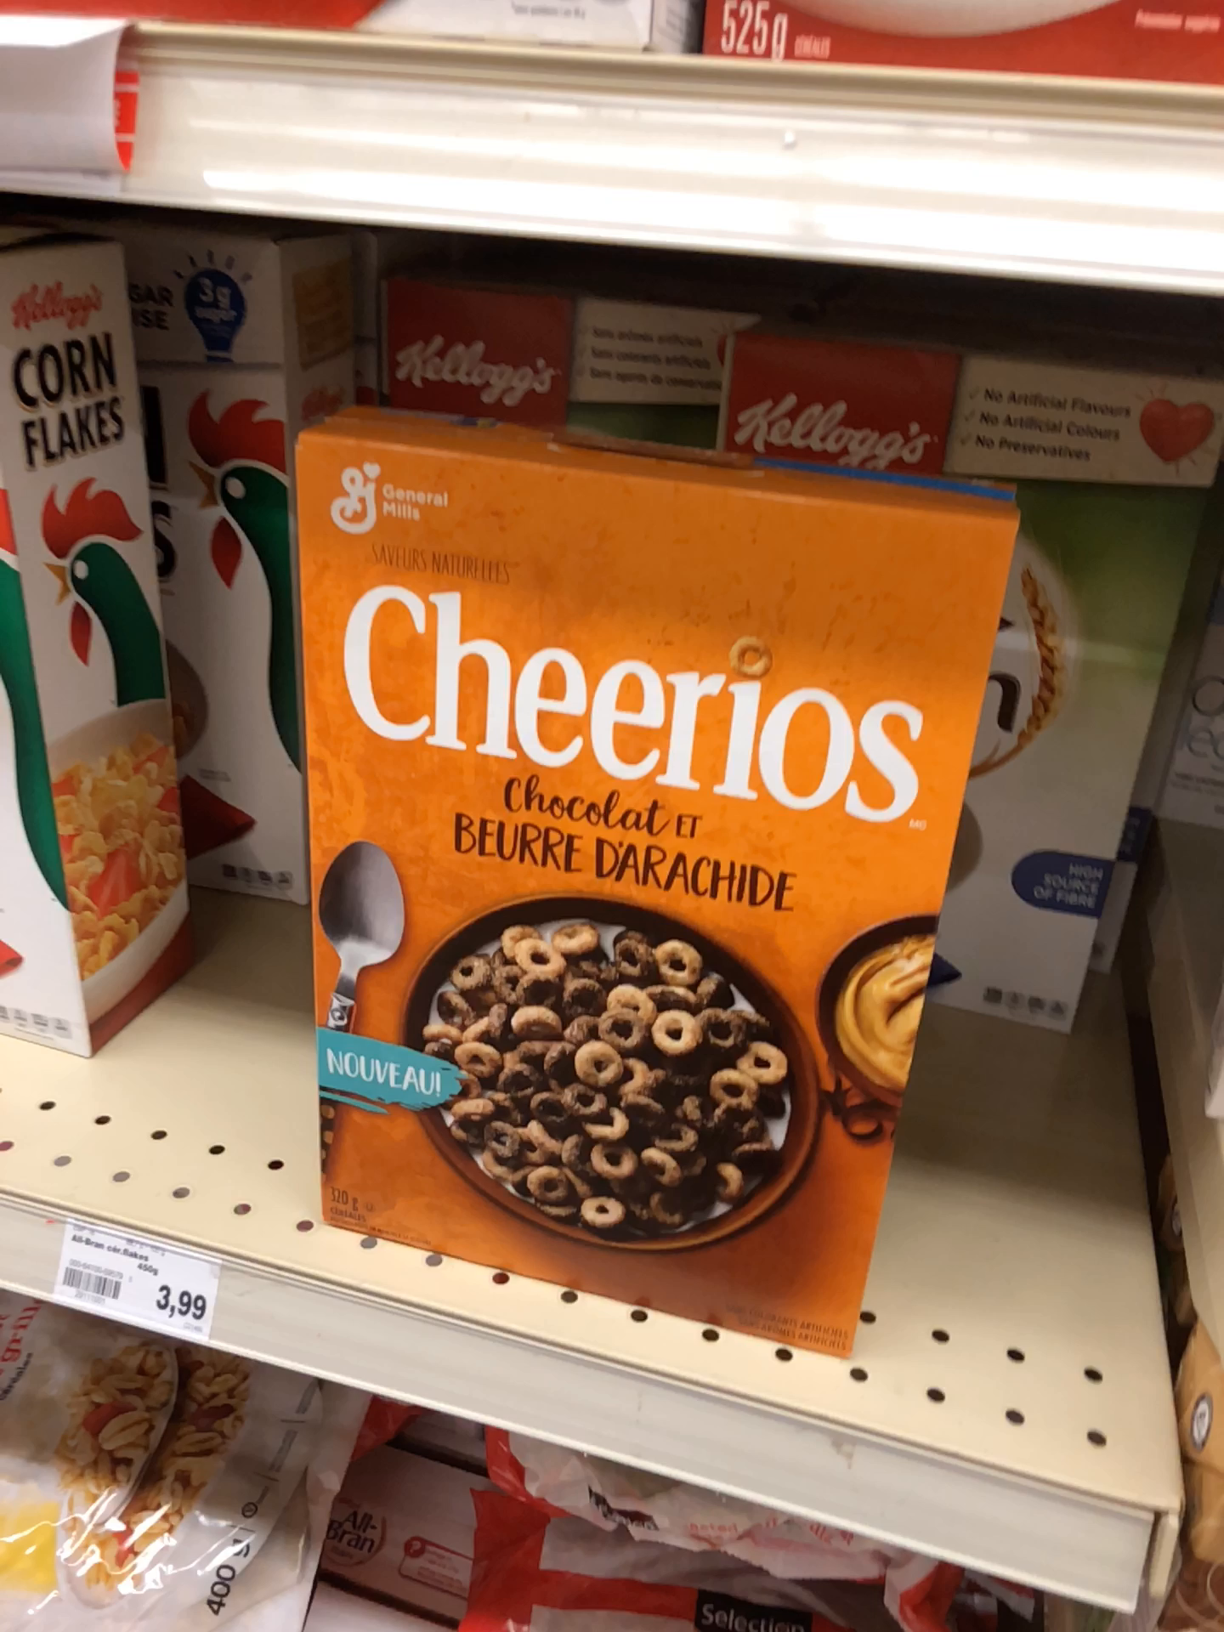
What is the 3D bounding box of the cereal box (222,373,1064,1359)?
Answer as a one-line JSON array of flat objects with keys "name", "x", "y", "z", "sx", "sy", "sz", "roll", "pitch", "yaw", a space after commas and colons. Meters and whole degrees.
[{"name": "cereal box", "x": -0.001, "y": 0.021, "z": 0.406, "sx": 0.210, "sy": 0.268, "sz": 0.050, "roll": 11, "pitch": 28, "yaw": 13}]
